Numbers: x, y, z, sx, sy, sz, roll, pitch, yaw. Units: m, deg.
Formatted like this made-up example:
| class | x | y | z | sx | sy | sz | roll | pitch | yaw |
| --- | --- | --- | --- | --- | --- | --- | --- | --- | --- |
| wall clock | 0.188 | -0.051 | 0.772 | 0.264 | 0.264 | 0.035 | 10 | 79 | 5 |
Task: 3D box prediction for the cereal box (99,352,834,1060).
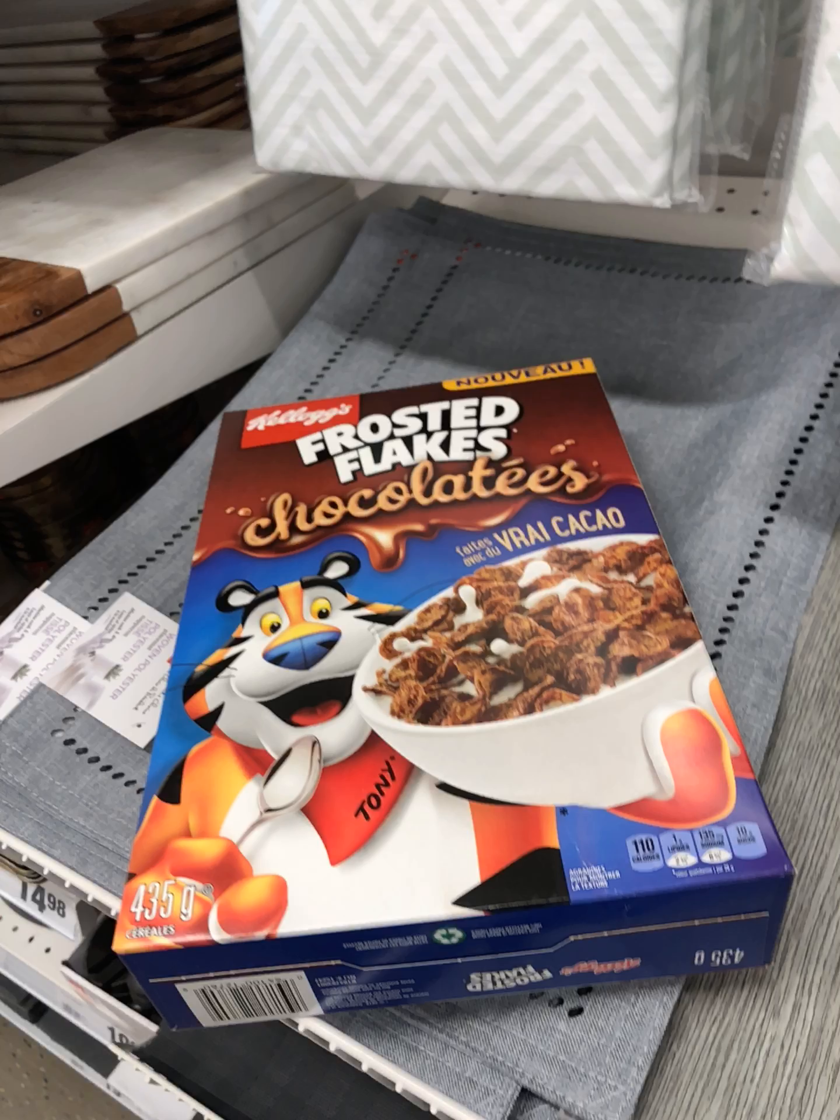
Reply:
| class | x | y | z | sx | sy | sz | roll | pitch | yaw |
| --- | --- | --- | --- | --- | --- | --- | --- | --- | --- |
| cereal box | 0.008 | 0.028 | 0.408 | 0.210 | 0.070 | 0.311 | -8 | 39 | 3 |
